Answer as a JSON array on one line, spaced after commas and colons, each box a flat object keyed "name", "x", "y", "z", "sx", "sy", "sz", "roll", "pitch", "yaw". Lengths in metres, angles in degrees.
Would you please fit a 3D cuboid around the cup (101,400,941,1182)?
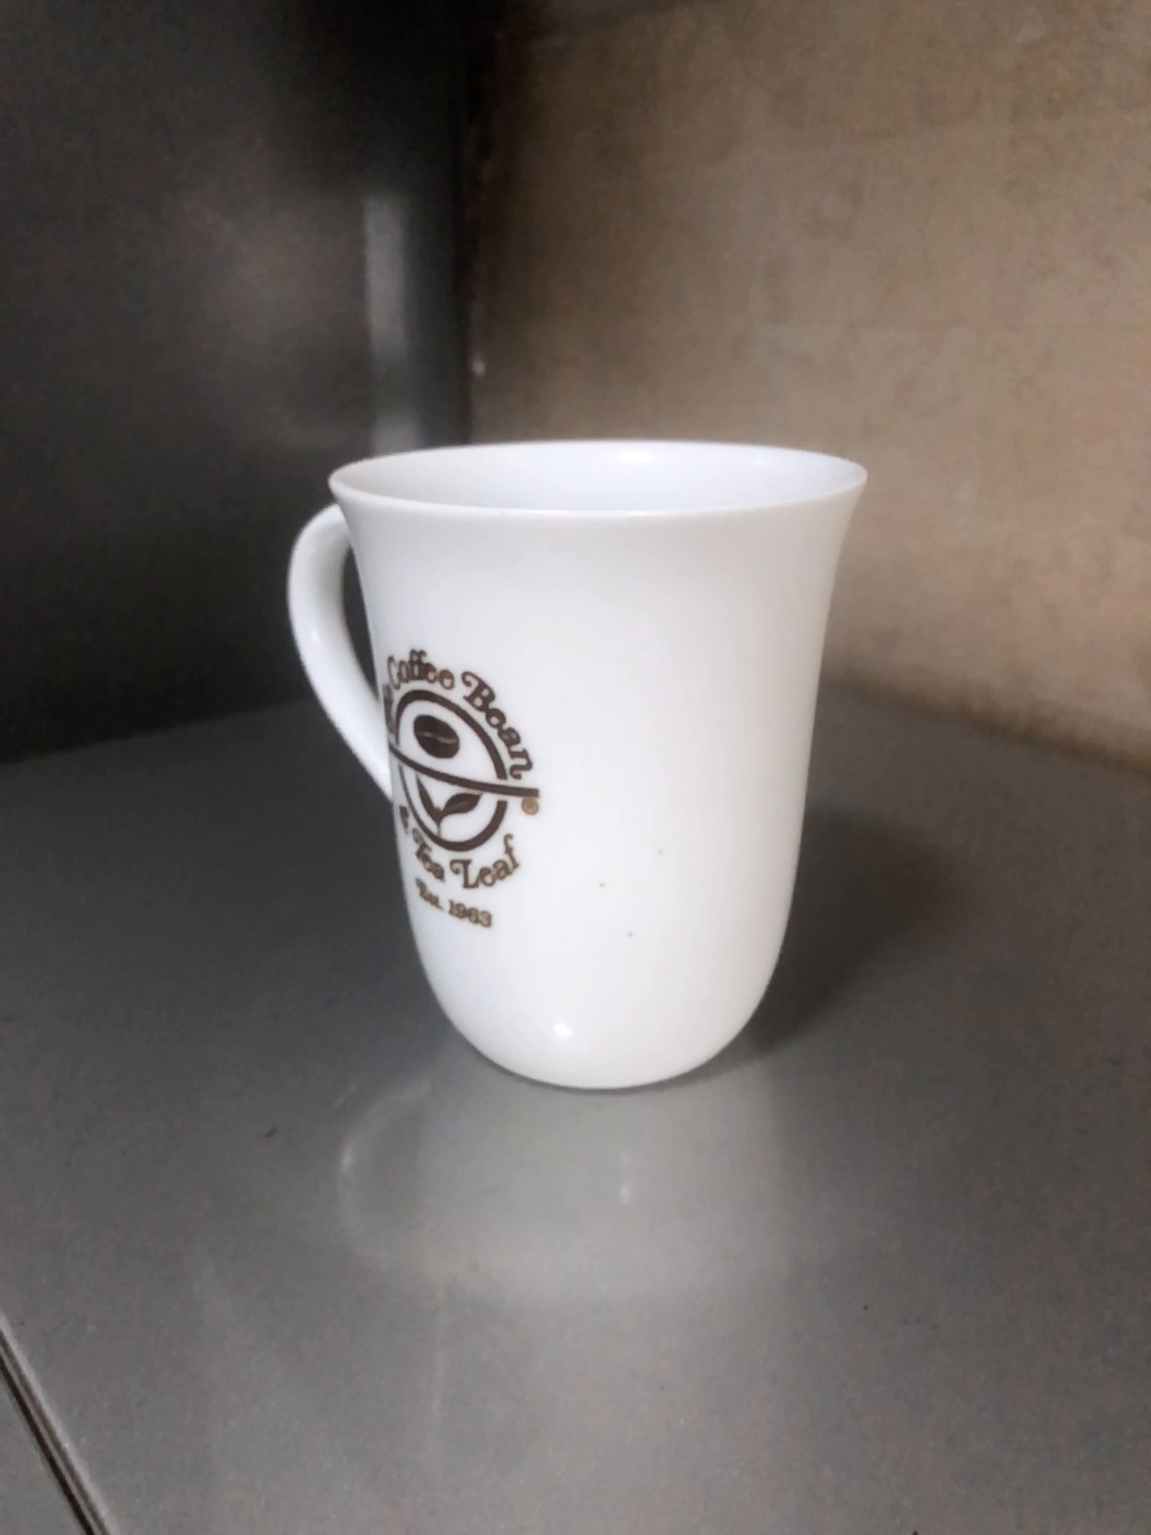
[{"name": "cup", "x": -0.012, "y": -0.012, "z": 0.260, "sx": 0.130, "sy": 0.109, "sz": 0.090, "roll": 15, "pitch": 25, "yaw": 37}]
